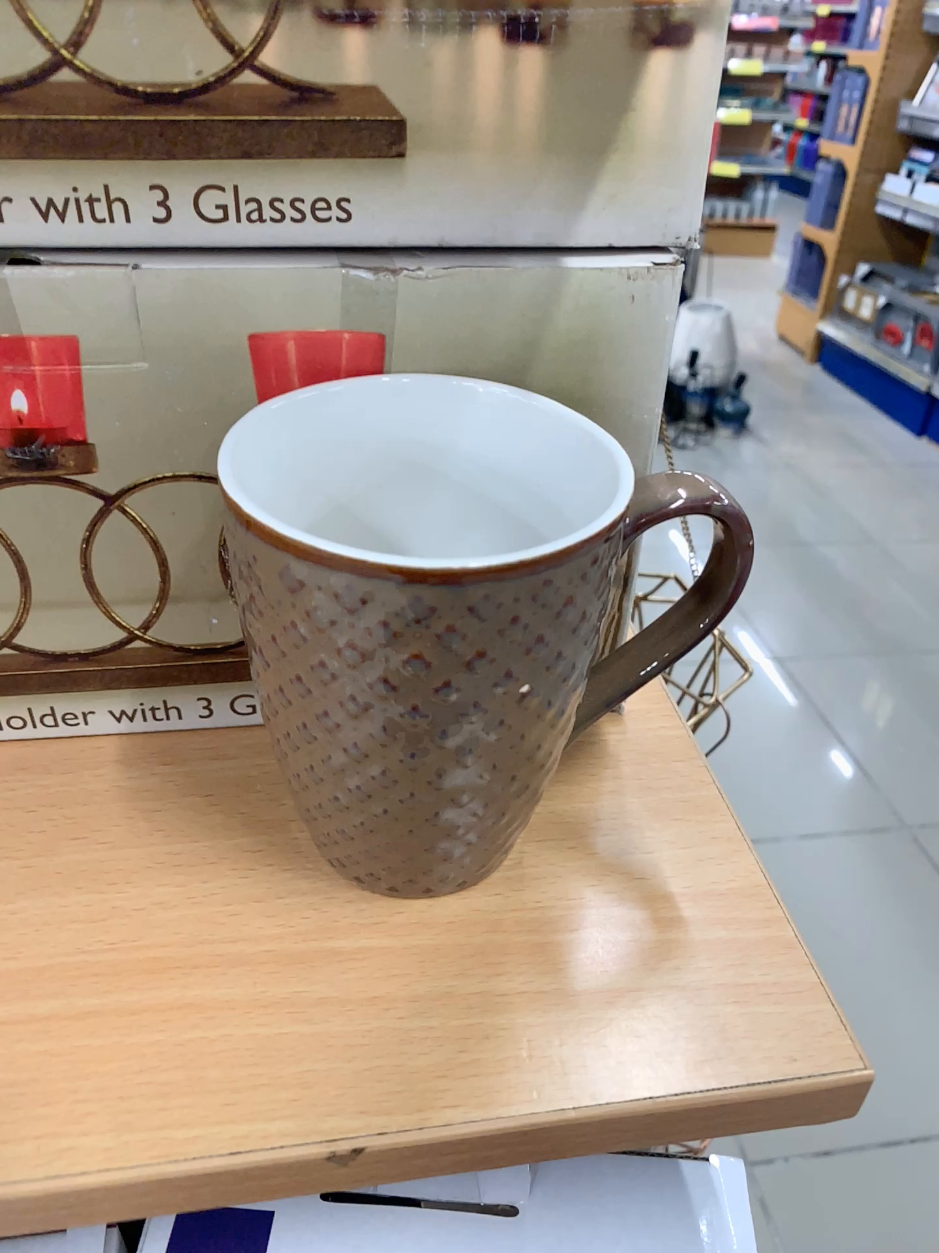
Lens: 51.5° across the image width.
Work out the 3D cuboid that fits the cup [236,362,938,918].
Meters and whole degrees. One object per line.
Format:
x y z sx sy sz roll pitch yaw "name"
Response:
0.015 -0.005 0.233 0.130 0.090 0.090 -4 32 -13 "cup"
